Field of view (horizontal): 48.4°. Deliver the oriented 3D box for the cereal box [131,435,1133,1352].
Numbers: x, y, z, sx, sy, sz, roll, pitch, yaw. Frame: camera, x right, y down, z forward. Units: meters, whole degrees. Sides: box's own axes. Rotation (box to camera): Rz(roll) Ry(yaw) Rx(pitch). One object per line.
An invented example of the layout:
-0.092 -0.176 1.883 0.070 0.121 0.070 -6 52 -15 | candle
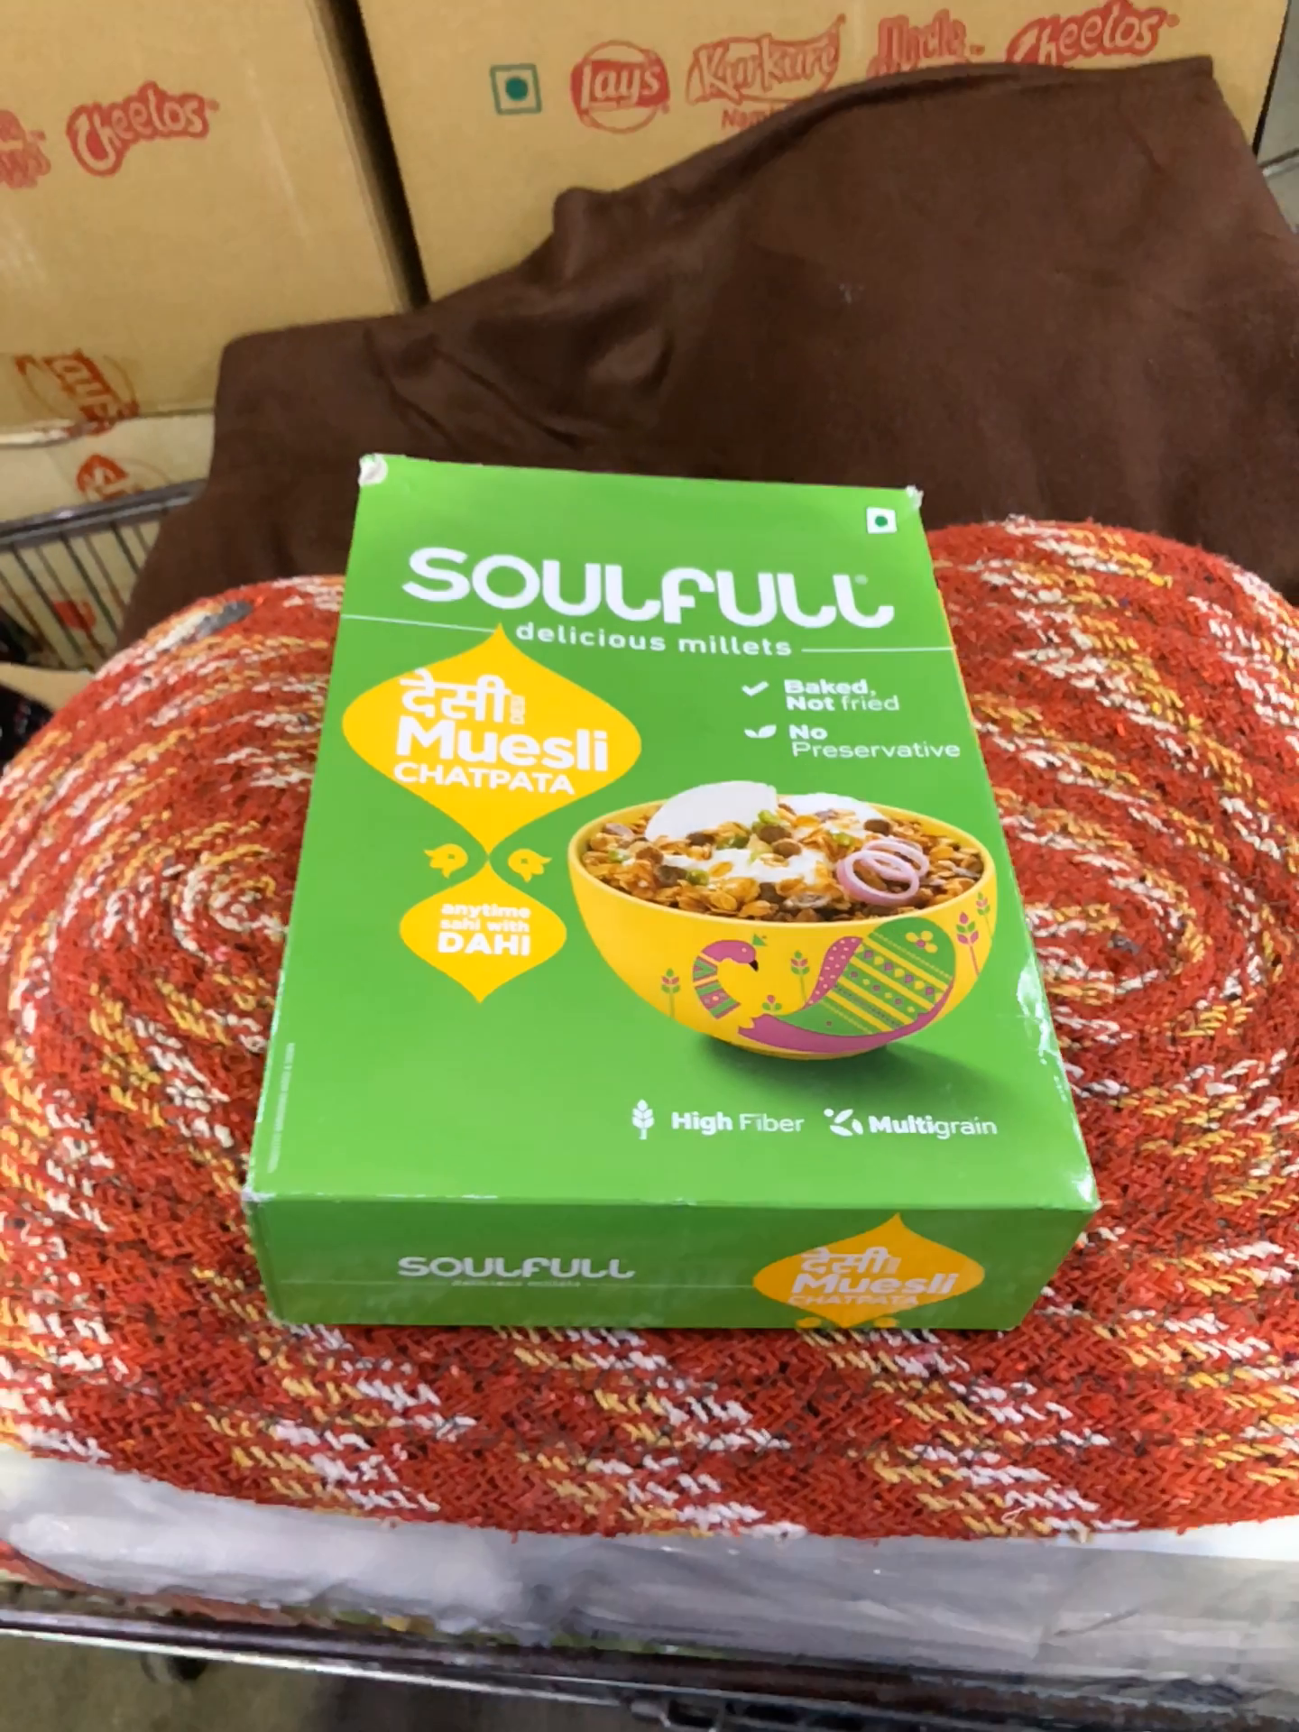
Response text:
-0.006 -0.011 0.350 0.170 0.060 0.241 2 46 -3 | cereal box
